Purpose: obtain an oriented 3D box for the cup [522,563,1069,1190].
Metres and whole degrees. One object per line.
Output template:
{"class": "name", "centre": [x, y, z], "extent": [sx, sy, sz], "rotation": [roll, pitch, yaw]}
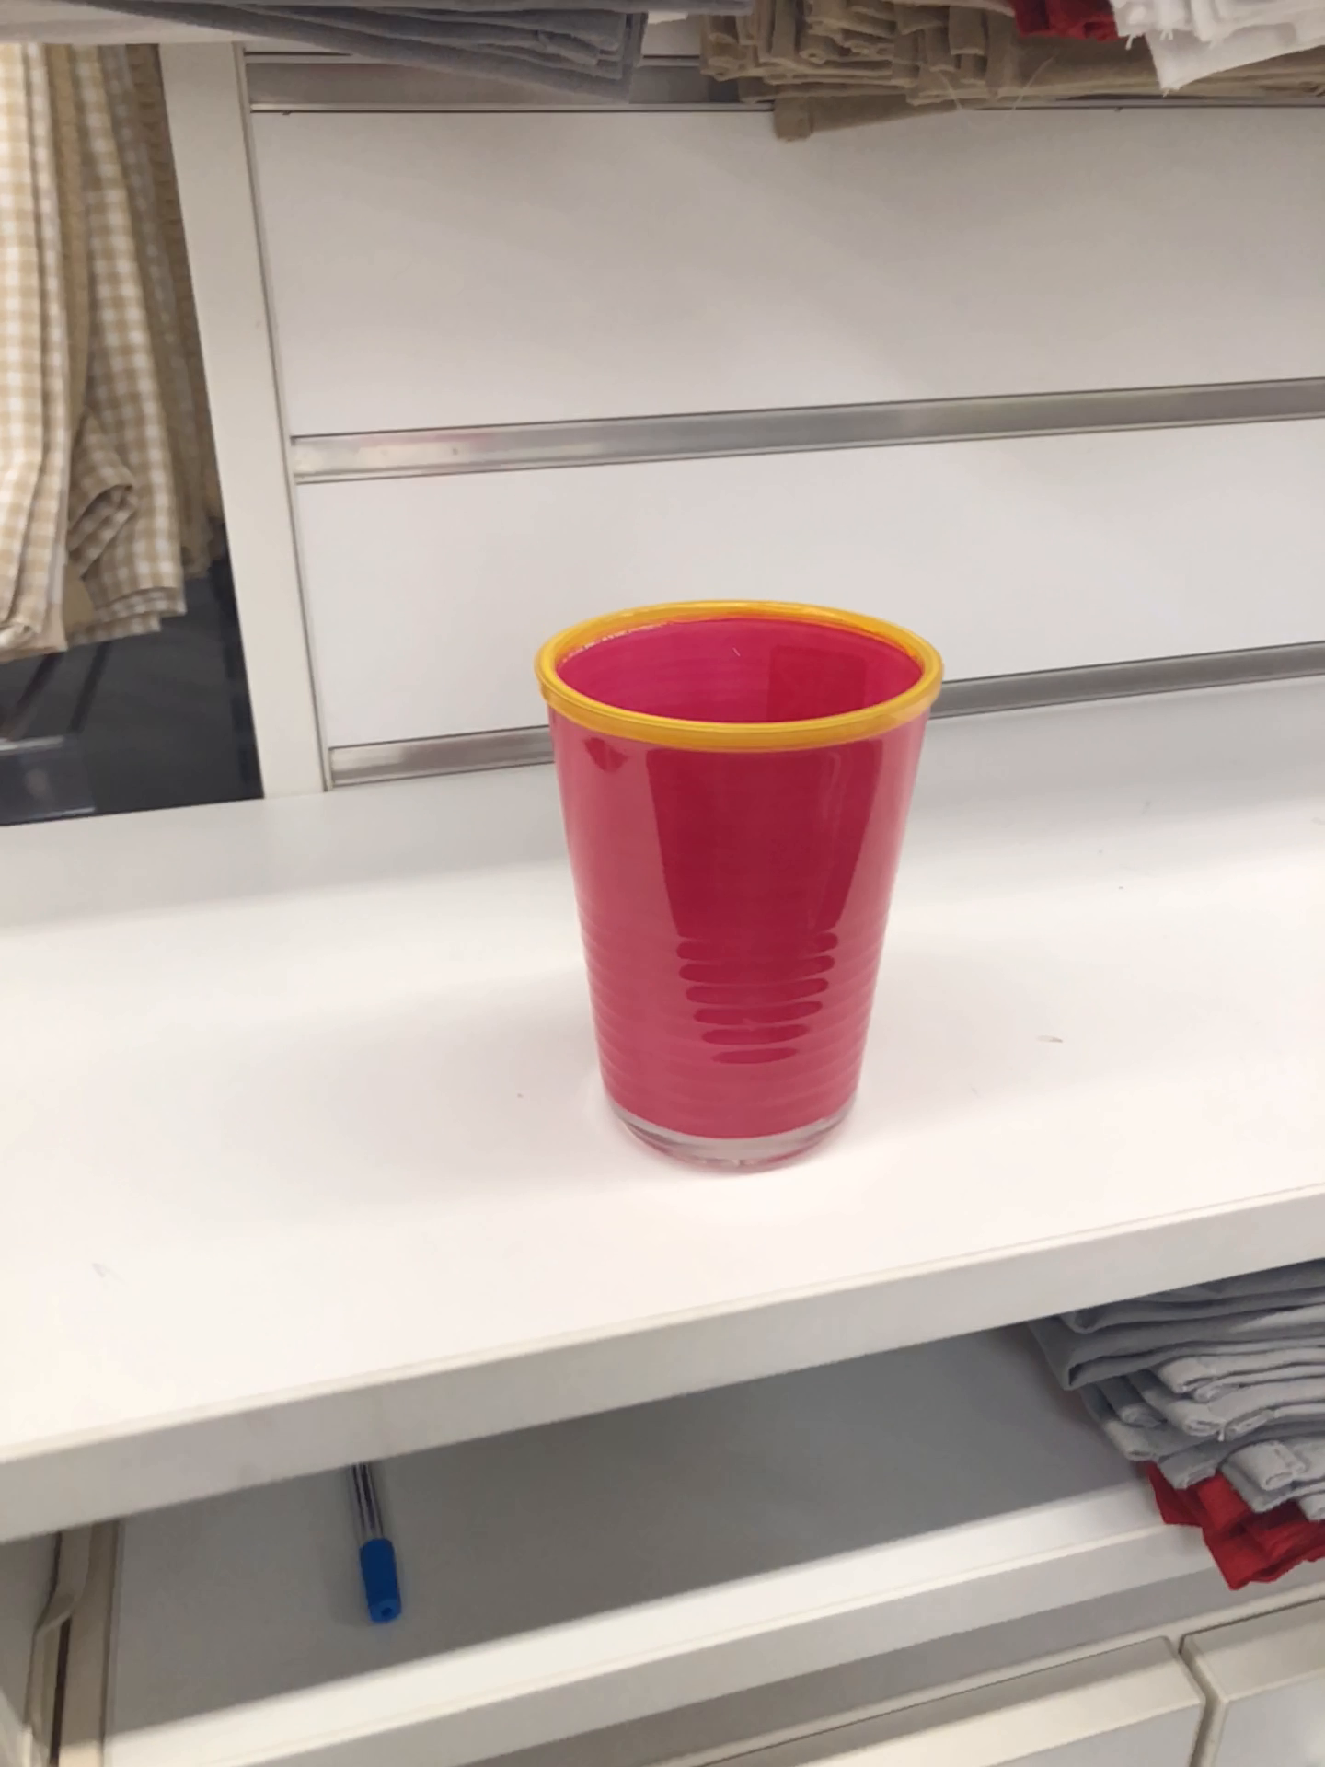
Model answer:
{"class": "cup", "centre": [0.020, -0.006, 0.296], "extent": [0.084, 0.094, 0.079], "rotation": [0, 27, 0]}
